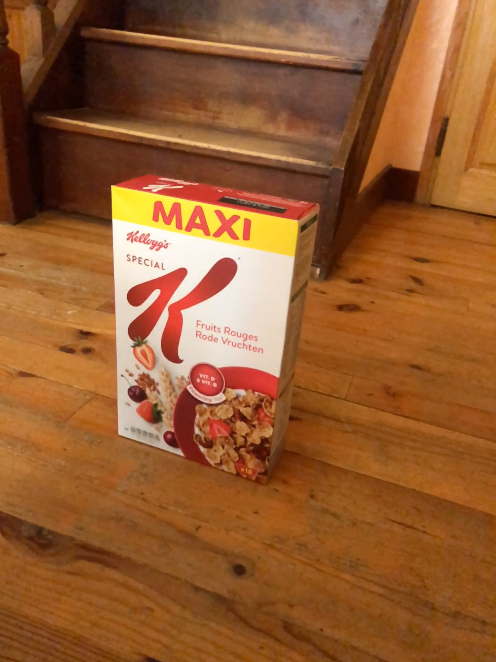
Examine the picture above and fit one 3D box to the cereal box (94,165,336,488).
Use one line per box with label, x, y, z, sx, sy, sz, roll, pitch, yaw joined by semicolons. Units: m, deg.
cereal box;-0.042;-0.006;0.577;0.210;0.288;0.091;14;28;16
